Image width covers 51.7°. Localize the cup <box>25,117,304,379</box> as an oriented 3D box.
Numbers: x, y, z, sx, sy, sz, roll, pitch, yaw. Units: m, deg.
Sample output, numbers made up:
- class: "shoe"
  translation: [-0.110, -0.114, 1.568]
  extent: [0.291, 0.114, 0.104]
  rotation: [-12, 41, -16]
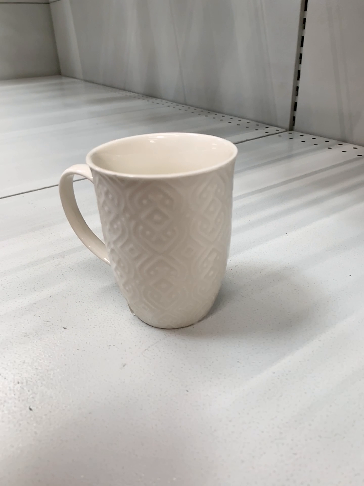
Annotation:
- class: "cup"
  translation: [-0.012, -0.012, 0.235]
  extent: [0.132, 0.098, 0.092]
  rotation: [24, 38, 38]
